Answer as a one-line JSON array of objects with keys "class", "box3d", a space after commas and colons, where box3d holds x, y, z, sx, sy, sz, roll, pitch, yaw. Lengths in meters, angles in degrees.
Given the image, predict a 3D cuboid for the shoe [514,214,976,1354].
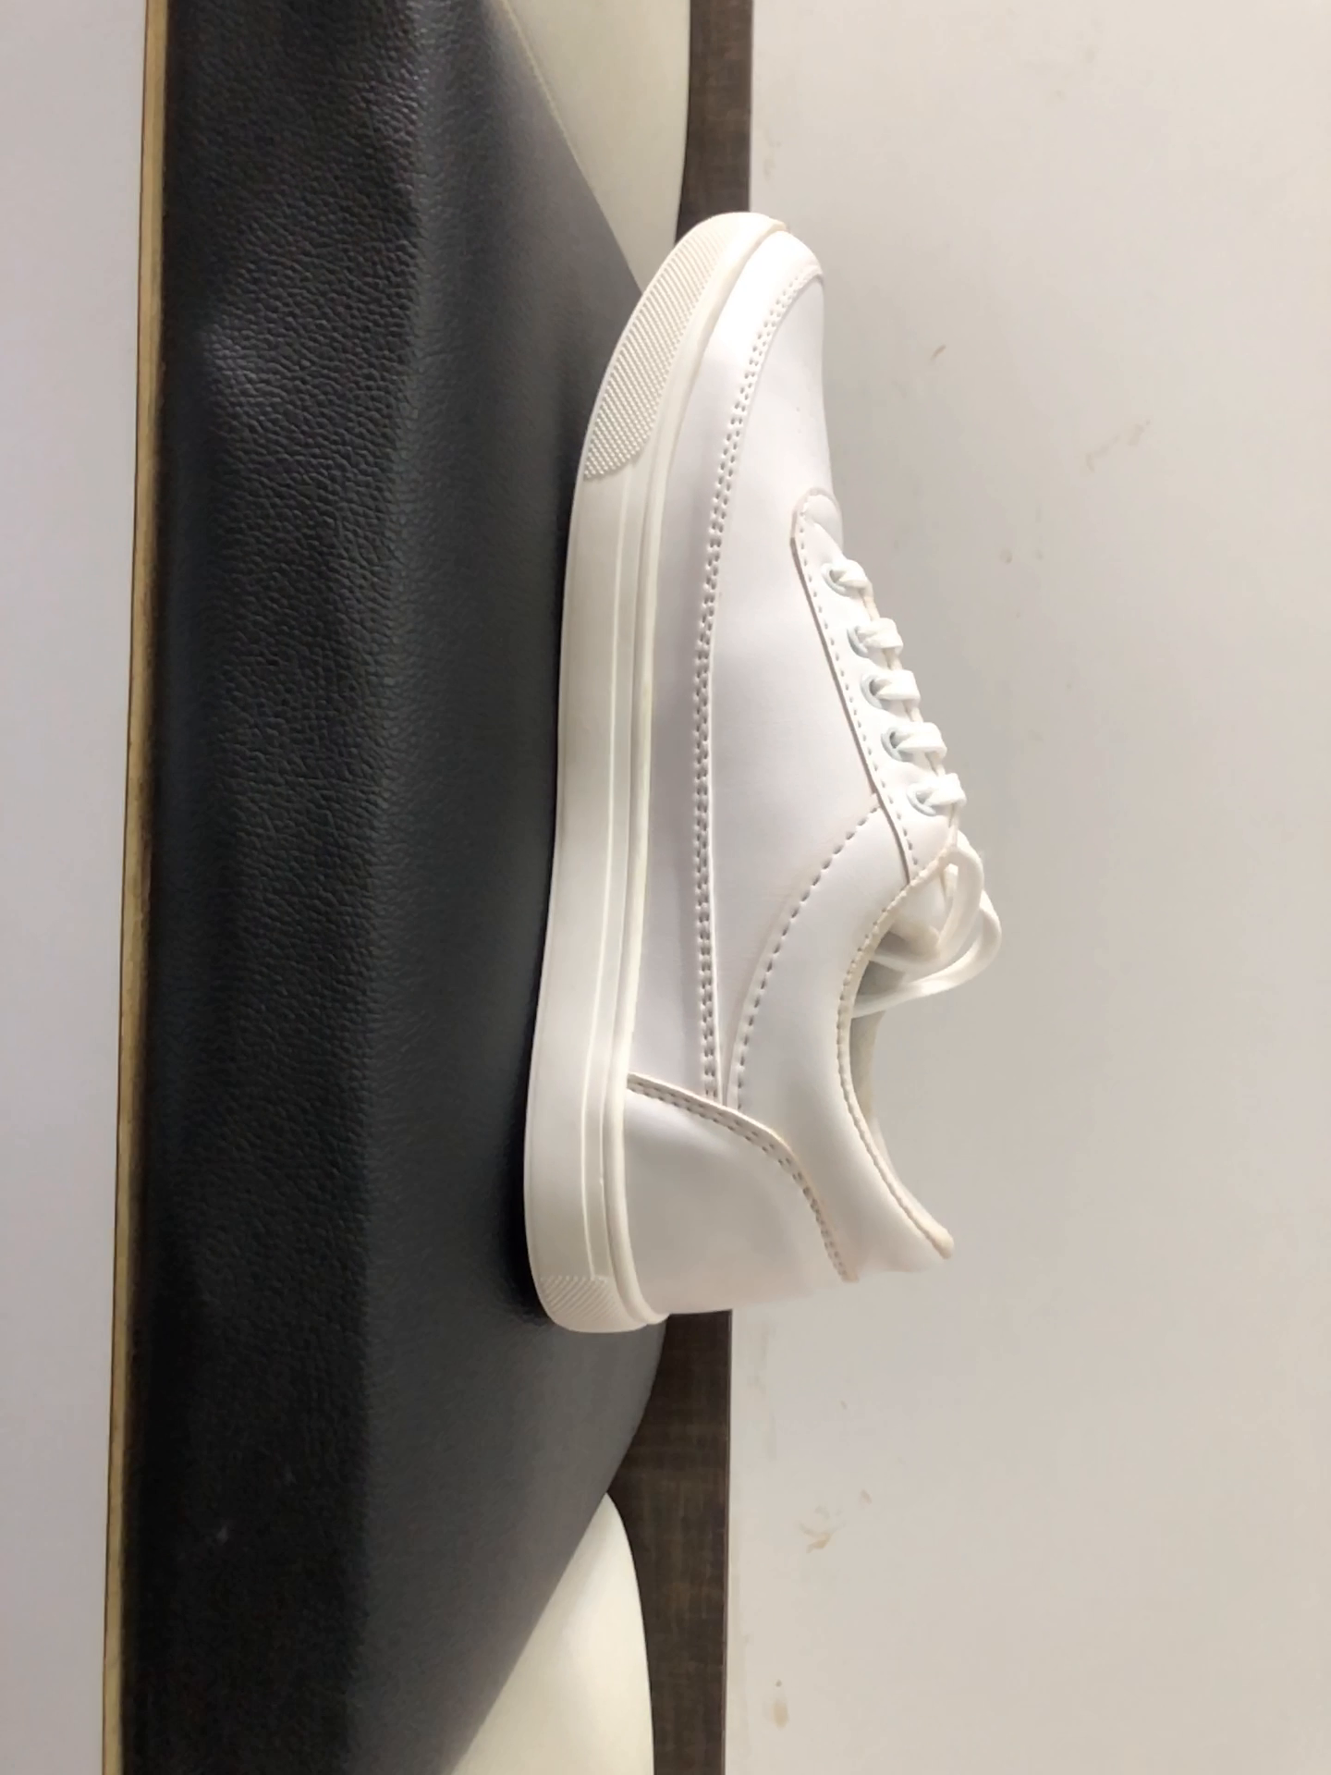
[{"class": "shoe", "box3d": [0.033, -0.025, 0.438, 0.130, 0.110, 0.290, 46, 46, -78]}]
